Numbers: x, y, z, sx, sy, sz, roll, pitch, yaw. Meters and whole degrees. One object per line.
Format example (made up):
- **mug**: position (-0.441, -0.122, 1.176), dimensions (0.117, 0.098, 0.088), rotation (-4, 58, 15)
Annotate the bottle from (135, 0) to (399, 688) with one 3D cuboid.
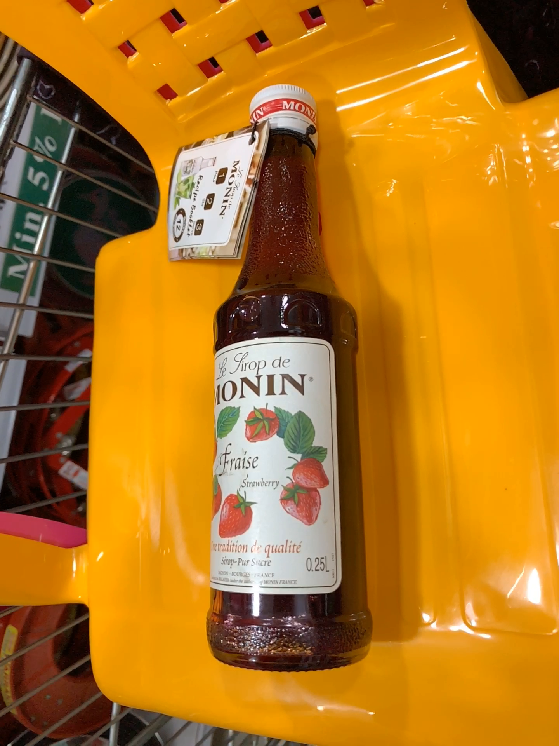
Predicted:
- **bottle**: position (-0.001, -0.021, 0.215), dimensions (0.060, 0.060, 0.230), rotation (-9, 70, 28)
